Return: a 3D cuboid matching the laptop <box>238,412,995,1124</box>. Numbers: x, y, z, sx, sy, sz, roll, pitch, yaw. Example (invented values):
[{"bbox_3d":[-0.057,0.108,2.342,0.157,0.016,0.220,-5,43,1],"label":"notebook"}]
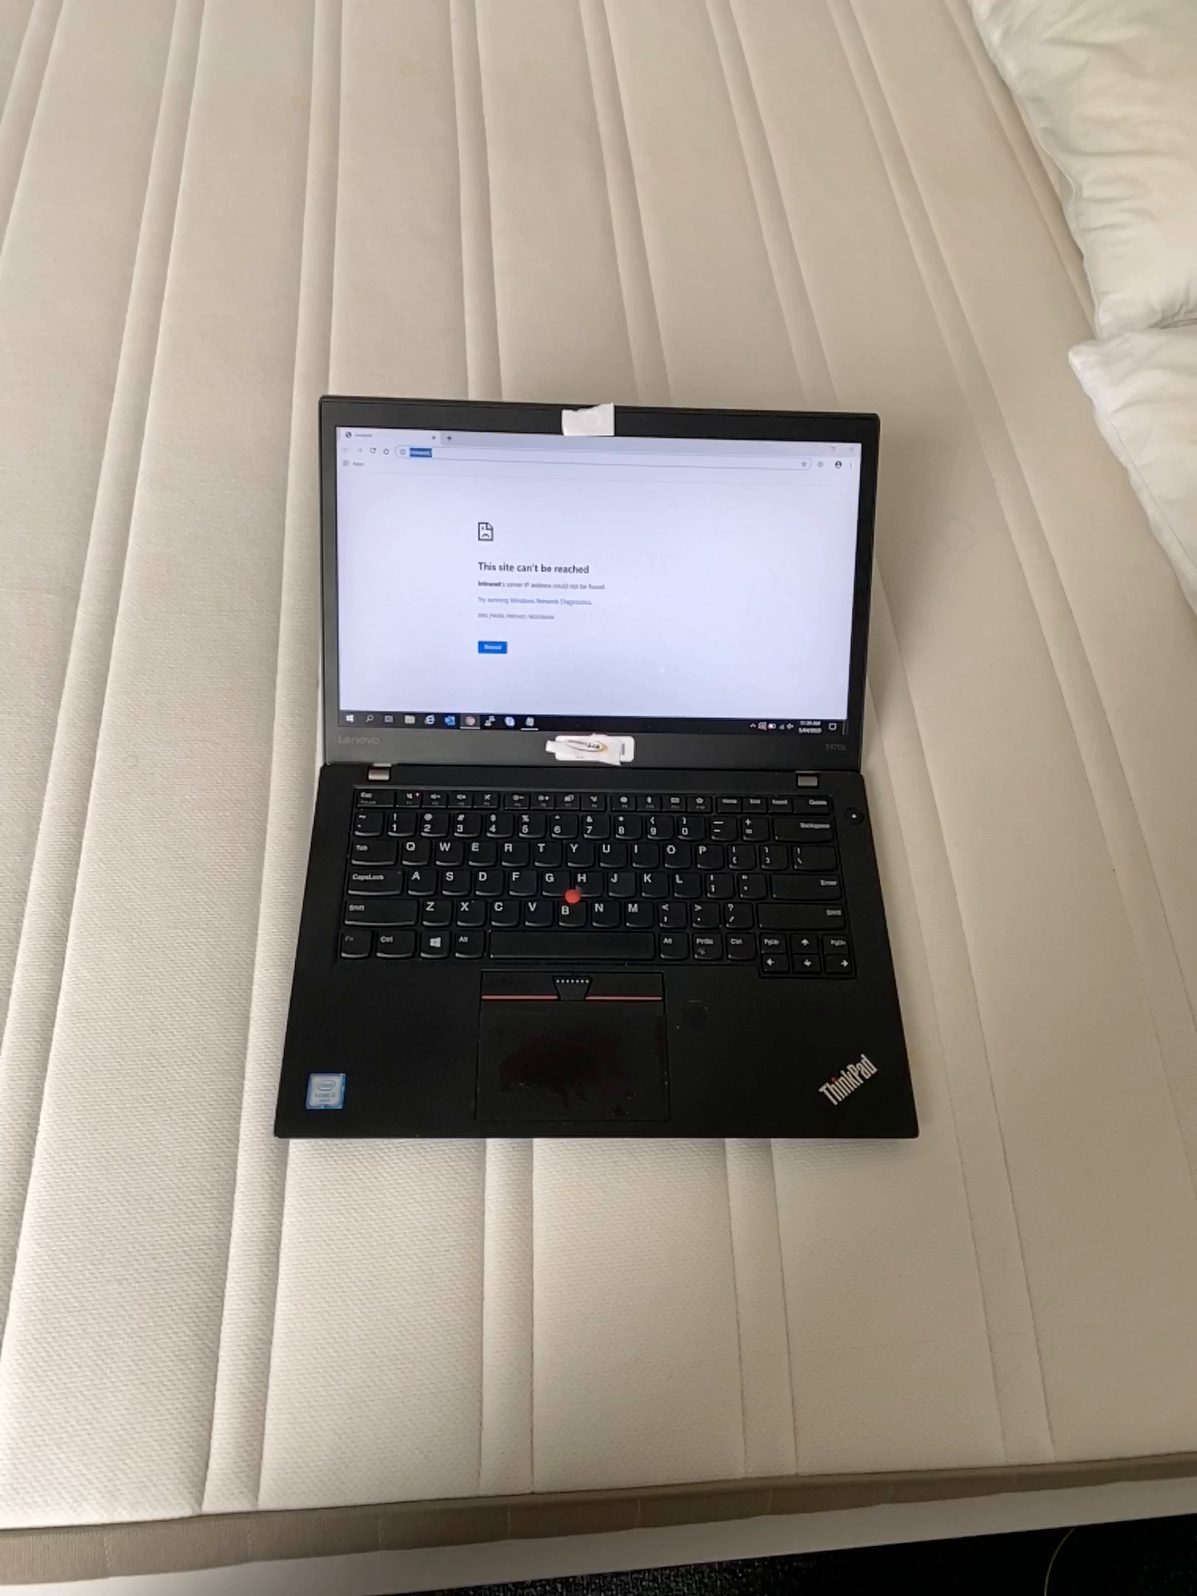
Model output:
[{"bbox_3d":[0.003,-0.027,0.667,0.320,0.120,0.382,1,57,-5],"label":"laptop"}]
